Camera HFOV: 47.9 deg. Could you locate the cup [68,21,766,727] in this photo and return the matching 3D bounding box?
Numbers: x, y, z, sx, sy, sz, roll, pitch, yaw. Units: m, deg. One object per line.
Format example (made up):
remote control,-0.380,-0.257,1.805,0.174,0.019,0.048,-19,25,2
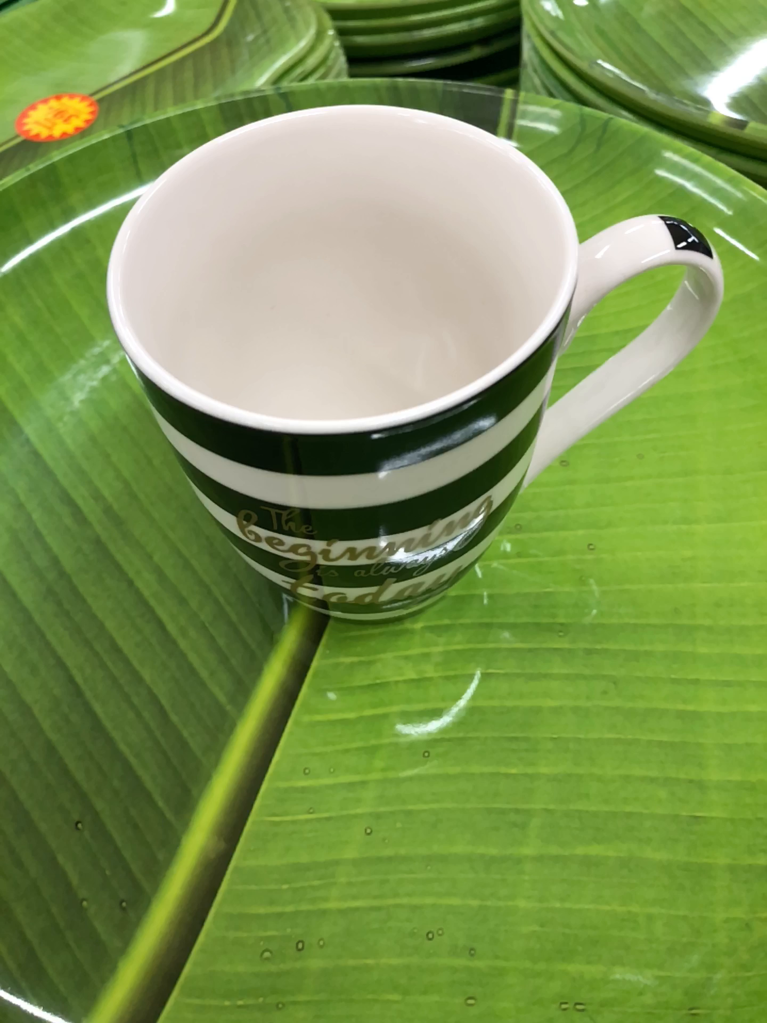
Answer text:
cup,0.018,-0.026,0.174,0.130,0.080,0.080,-15,56,-6
